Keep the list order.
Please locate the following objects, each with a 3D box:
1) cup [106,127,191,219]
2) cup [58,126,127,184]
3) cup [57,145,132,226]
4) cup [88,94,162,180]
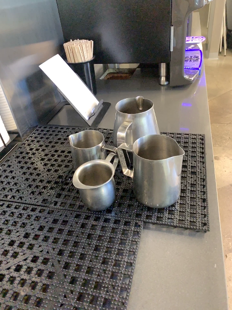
[{"bbox_3d":[0.061,0.029,0.430,0.120,0.119,0.080,11,40,23],"label":"cup"},{"bbox_3d":[-0.045,-0.003,0.483,0.110,0.070,0.070,12,40,24],"label":"cup"},{"bbox_3d":[-0.031,0.047,0.413,0.070,0.070,0.110,15,42,27],"label":"cup"},{"bbox_3d":[0.027,-0.046,0.526,0.100,0.119,0.140,14,41,26],"label":"cup"}]
